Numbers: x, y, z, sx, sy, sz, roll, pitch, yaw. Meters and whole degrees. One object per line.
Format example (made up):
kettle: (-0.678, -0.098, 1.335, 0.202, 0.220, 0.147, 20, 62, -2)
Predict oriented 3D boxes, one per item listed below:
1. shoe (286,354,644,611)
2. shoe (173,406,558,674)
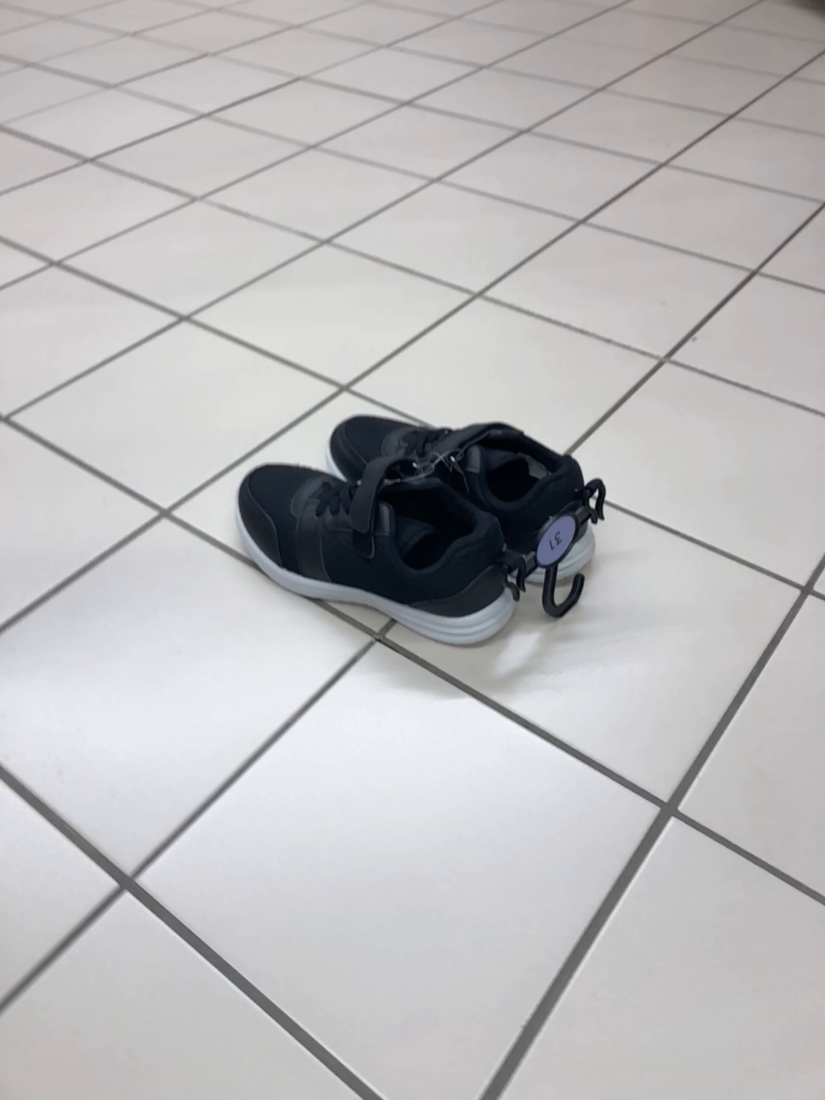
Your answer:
shoe: (0.032, -0.054, 0.632, 0.222, 0.064, 0.098, 25, 49, 25)
shoe: (-0.030, -0.014, 0.590, 0.222, 0.064, 0.098, 19, 47, 20)
